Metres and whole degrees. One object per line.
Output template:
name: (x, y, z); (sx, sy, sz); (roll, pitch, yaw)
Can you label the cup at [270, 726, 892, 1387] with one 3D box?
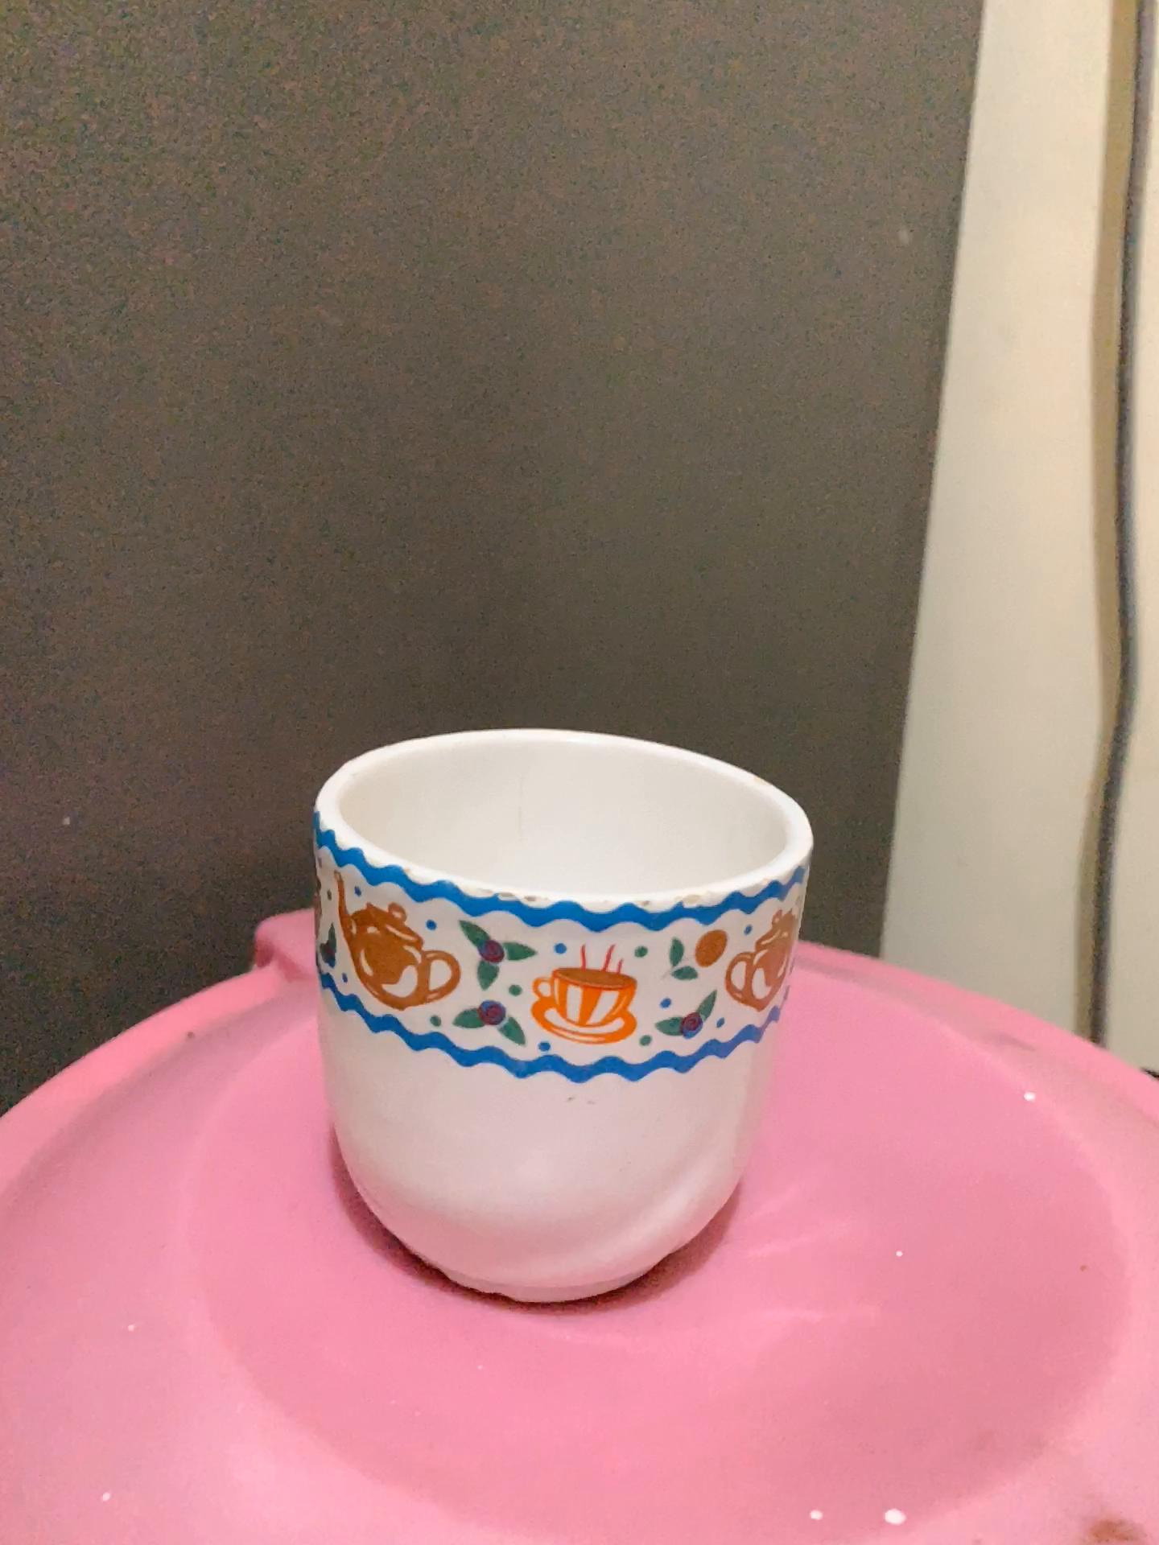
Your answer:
cup: (-0.007, 0.032, 0.177); (0.070, 0.060, 0.070); (2, 16, -1)
